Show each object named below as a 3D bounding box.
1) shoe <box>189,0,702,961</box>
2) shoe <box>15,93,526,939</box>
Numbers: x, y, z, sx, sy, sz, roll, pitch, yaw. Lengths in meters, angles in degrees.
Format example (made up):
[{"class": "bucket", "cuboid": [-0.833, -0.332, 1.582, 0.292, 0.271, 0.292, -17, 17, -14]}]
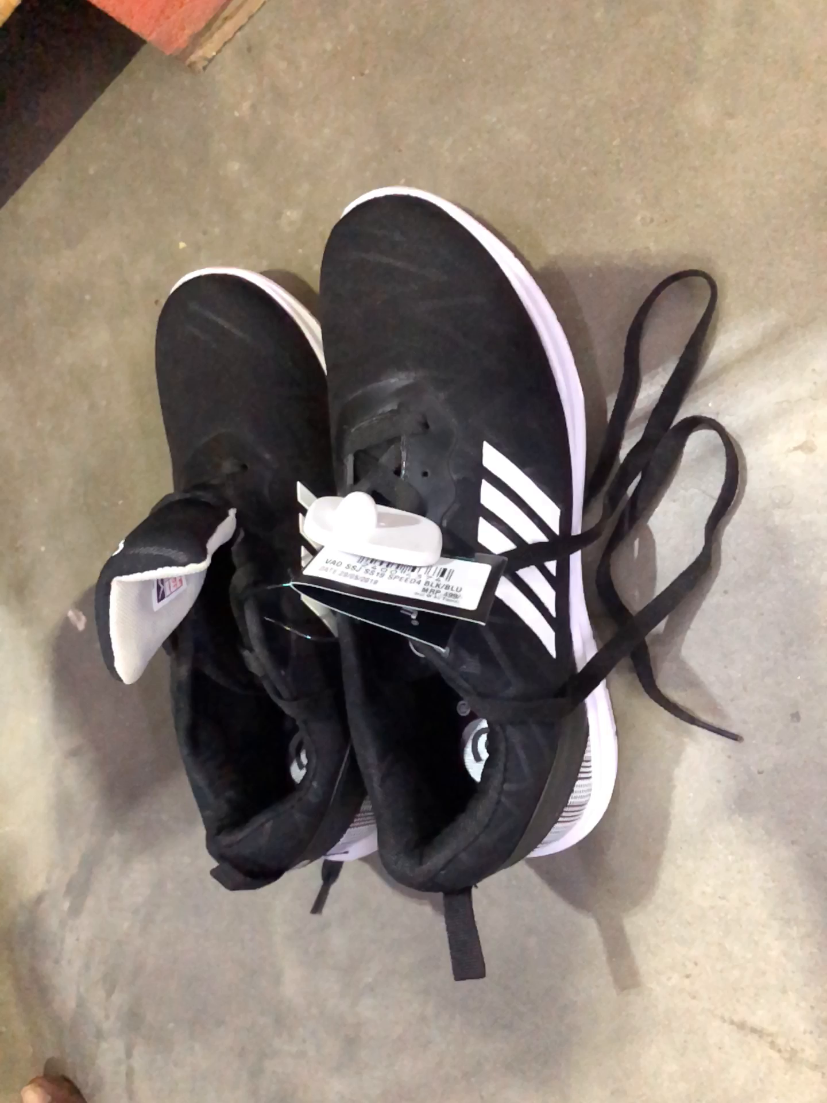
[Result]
[{"class": "shoe", "cuboid": [0.014, -0.022, 0.373, 0.110, 0.130, 0.320, -14, 79, 29]}, {"class": "shoe", "cuboid": [-0.070, -0.014, 0.434, 0.120, 0.130, 0.330, -21, 76, 28]}]
